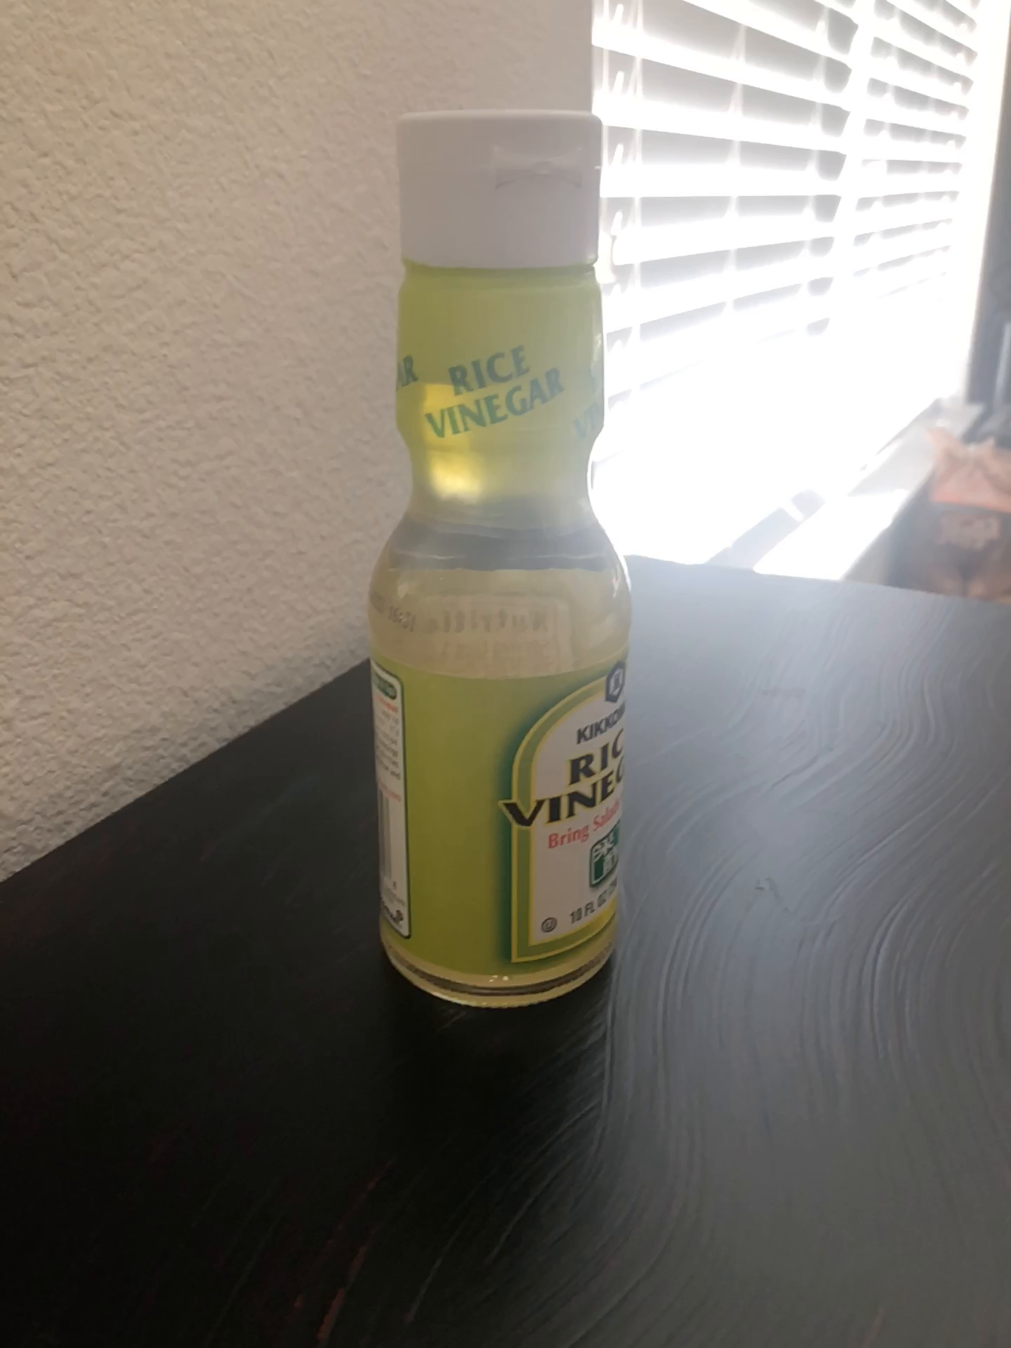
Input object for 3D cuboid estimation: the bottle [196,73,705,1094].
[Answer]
[{"bbox_3d":[-0.007,-0.019,0.255,0.070,0.199,0.070,-1,22,1],"label":"bottle"}]
